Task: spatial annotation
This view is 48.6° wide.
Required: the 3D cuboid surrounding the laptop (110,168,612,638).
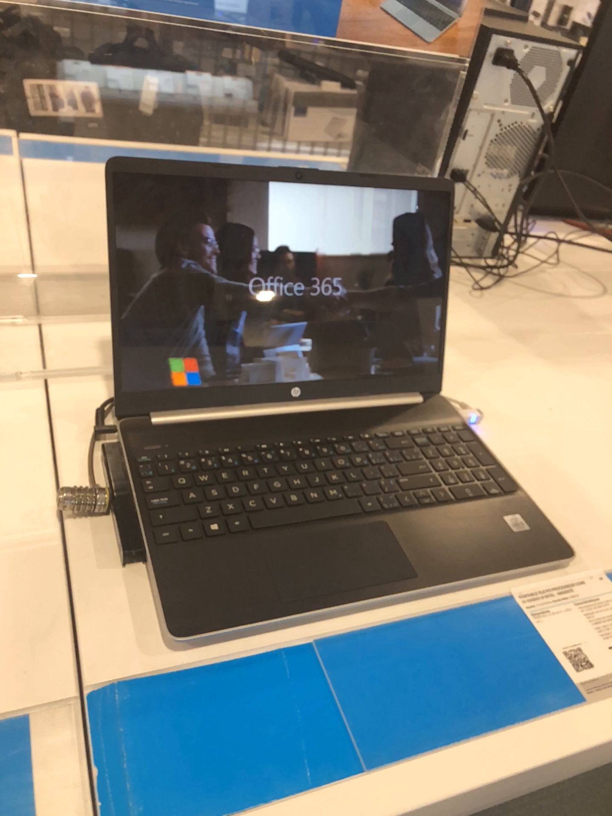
[{"bbox_3d":[0.032,-0.039,0.584,0.346,0.196,0.335,-4,39,-23],"label":"laptop"}]
